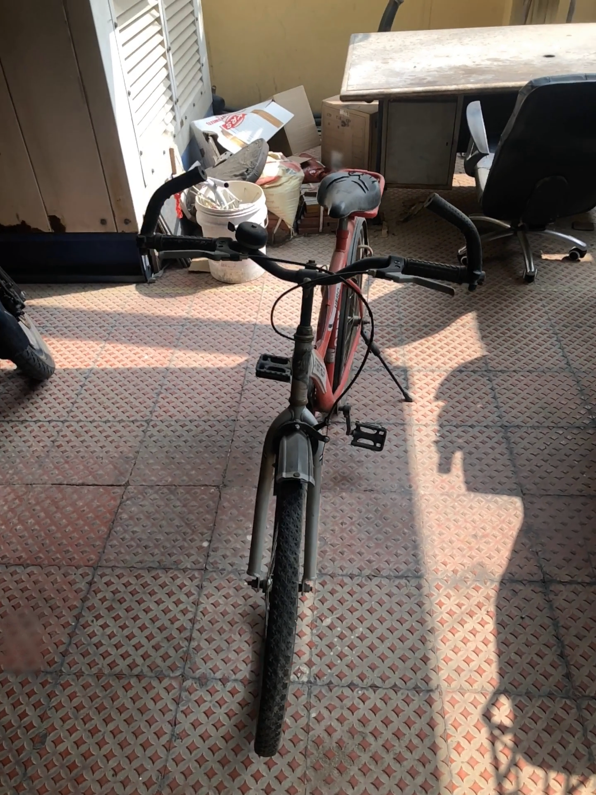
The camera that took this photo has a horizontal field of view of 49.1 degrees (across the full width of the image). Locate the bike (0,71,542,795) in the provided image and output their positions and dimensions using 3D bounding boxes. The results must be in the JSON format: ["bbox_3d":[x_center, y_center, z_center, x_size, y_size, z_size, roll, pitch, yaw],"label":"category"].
[{"bbox_3d":[0.089,-0.086,1.588,0.575,0.963,1.620,5,39,8],"label":"bike"}]
